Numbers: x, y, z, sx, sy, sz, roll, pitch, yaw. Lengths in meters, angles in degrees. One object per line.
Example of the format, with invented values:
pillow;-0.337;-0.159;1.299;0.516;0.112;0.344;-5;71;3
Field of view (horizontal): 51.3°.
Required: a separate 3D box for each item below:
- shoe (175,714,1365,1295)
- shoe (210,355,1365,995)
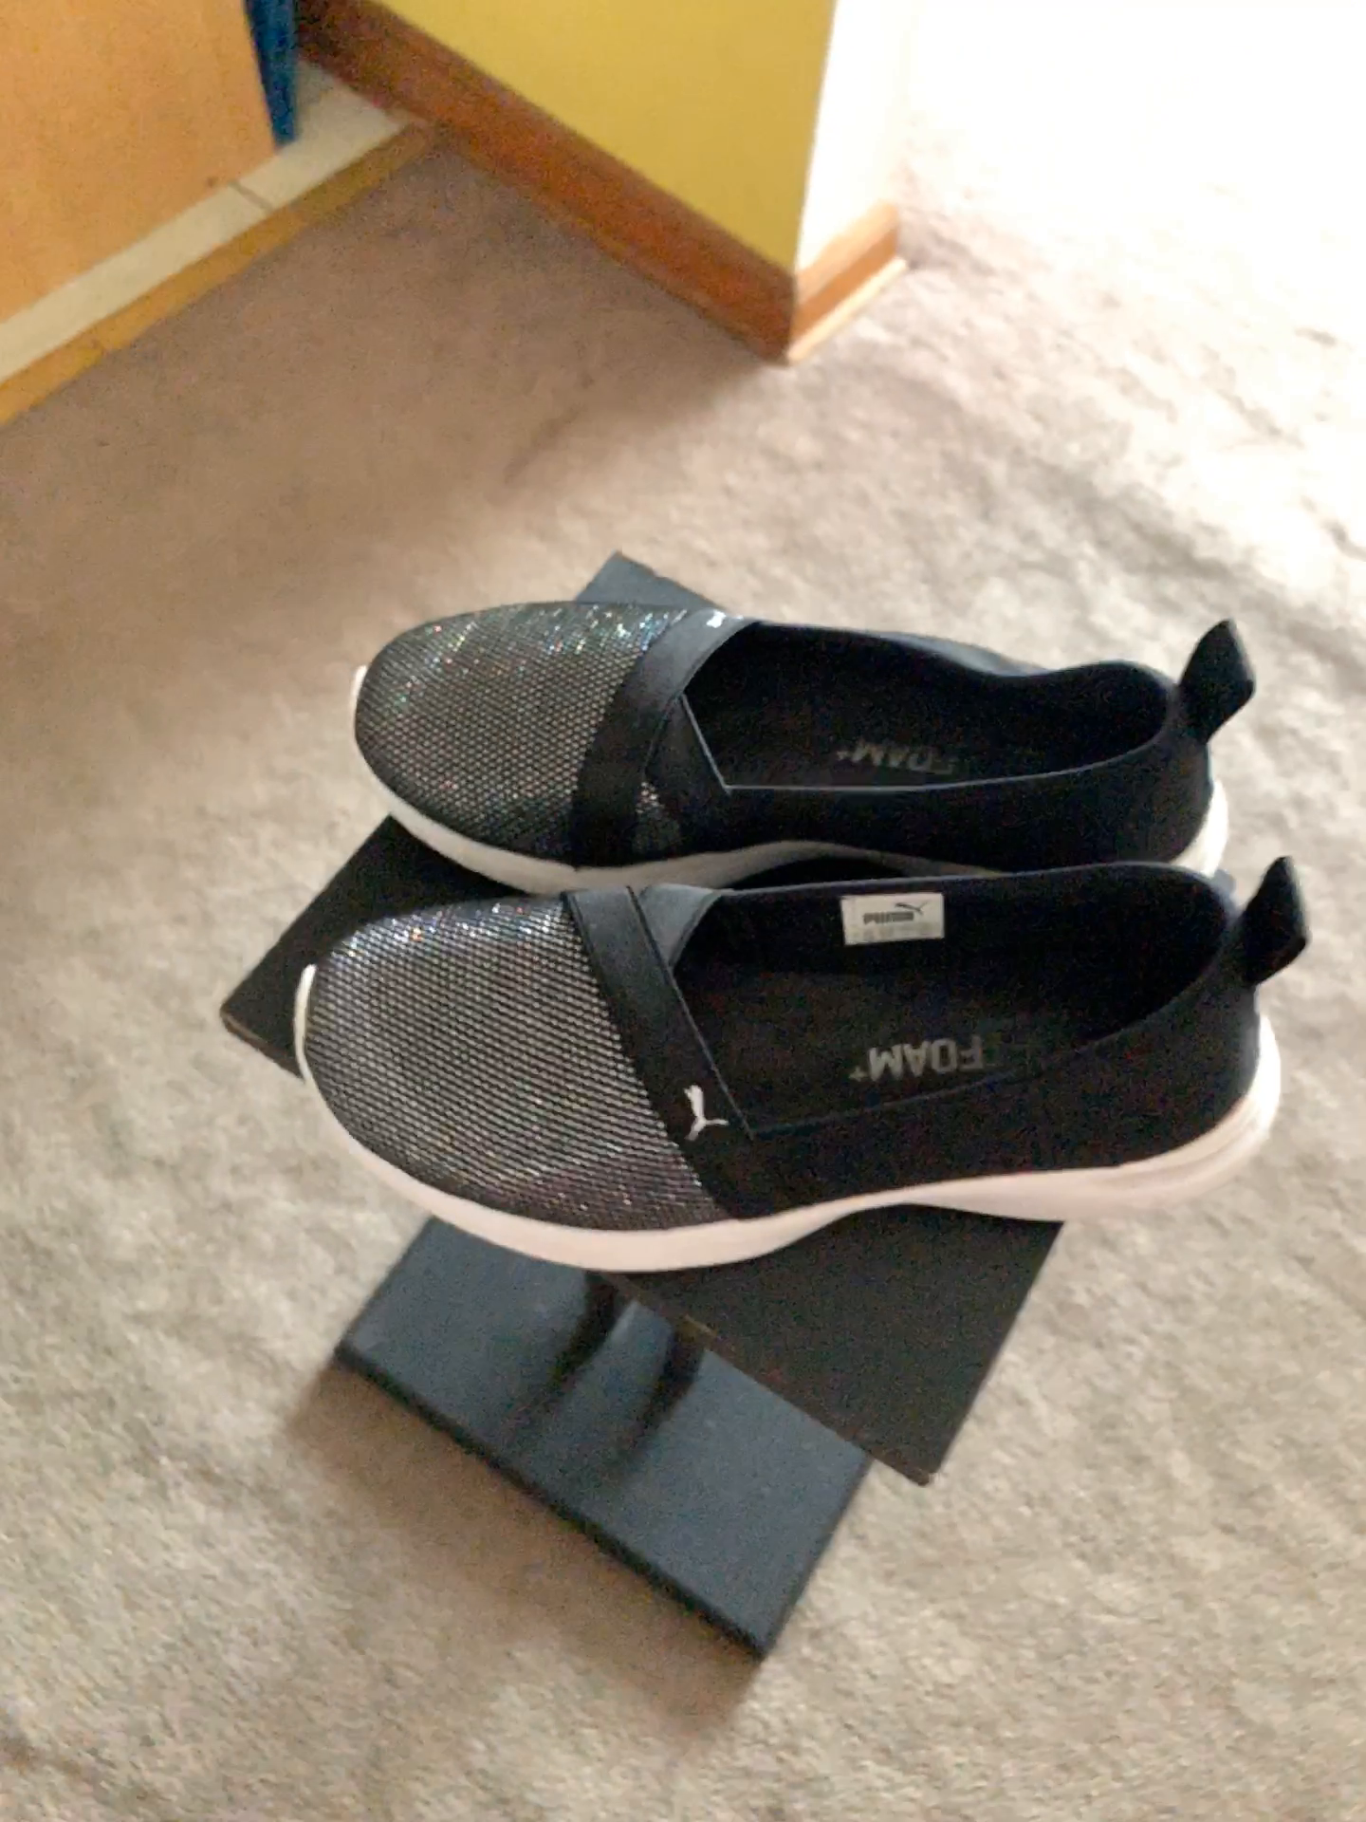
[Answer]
shoe;0.029;0.028;0.343;0.256;0.099;0.101;2;63;-3
shoe;0.027;-0.058;0.381;0.260;0.099;0.101;7;63;-1
